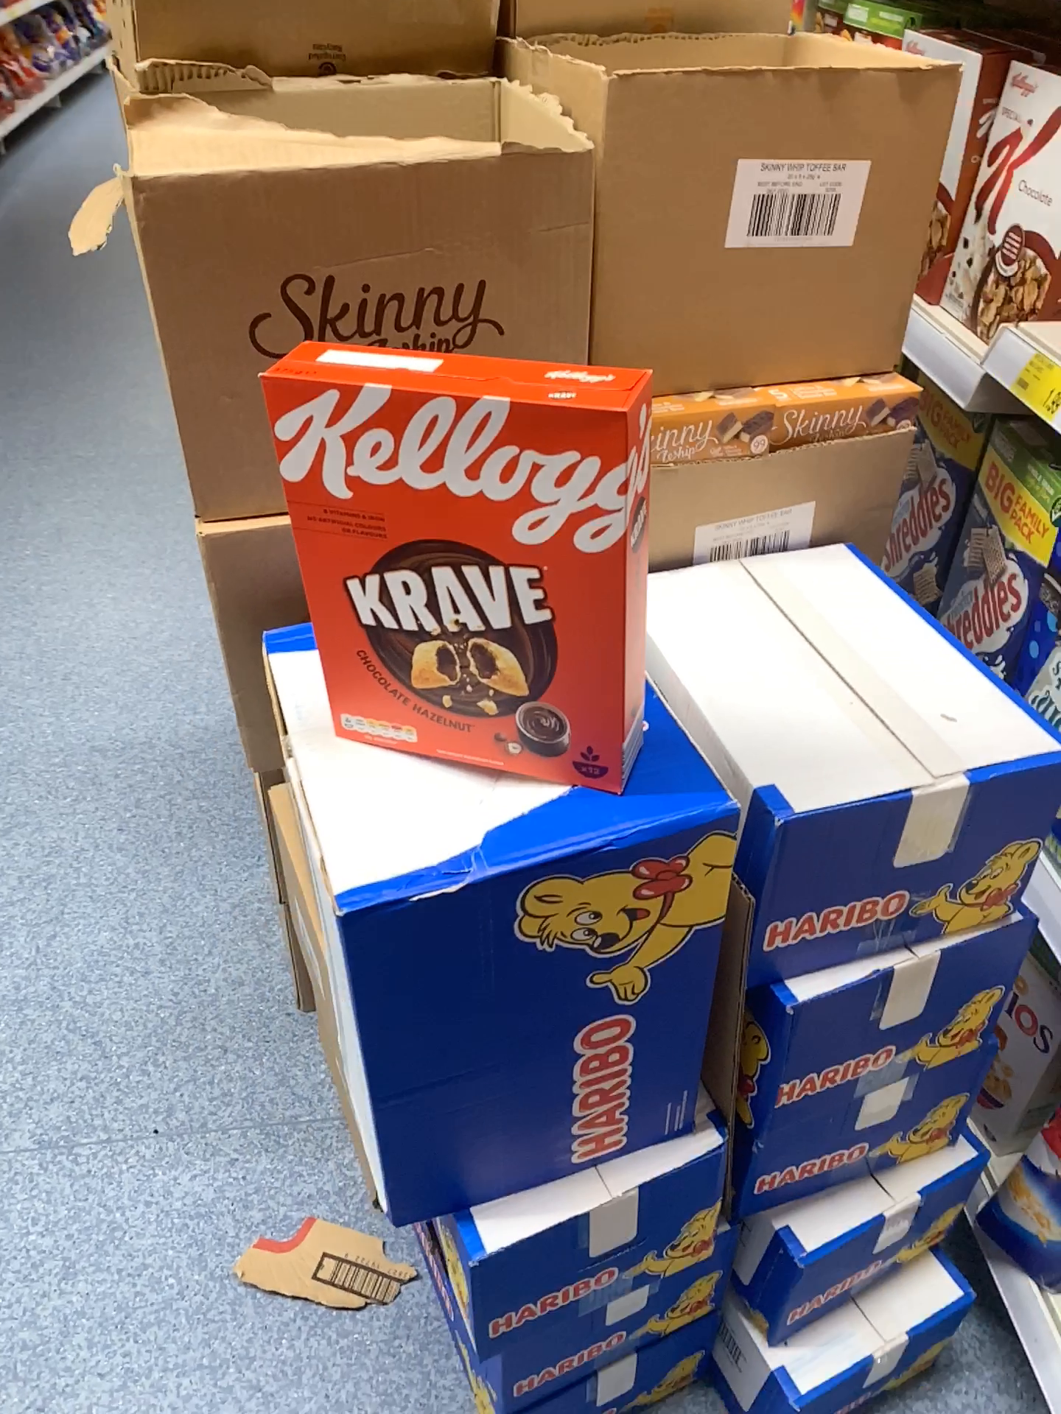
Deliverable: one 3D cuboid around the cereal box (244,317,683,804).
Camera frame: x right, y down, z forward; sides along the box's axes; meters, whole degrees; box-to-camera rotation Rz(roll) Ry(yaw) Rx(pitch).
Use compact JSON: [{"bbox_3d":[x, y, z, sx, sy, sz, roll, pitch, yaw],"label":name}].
[{"bbox_3d":[-0.028,-0.074,0.587,0.200,0.238,0.061,11,41,16],"label":"cereal box"}]
